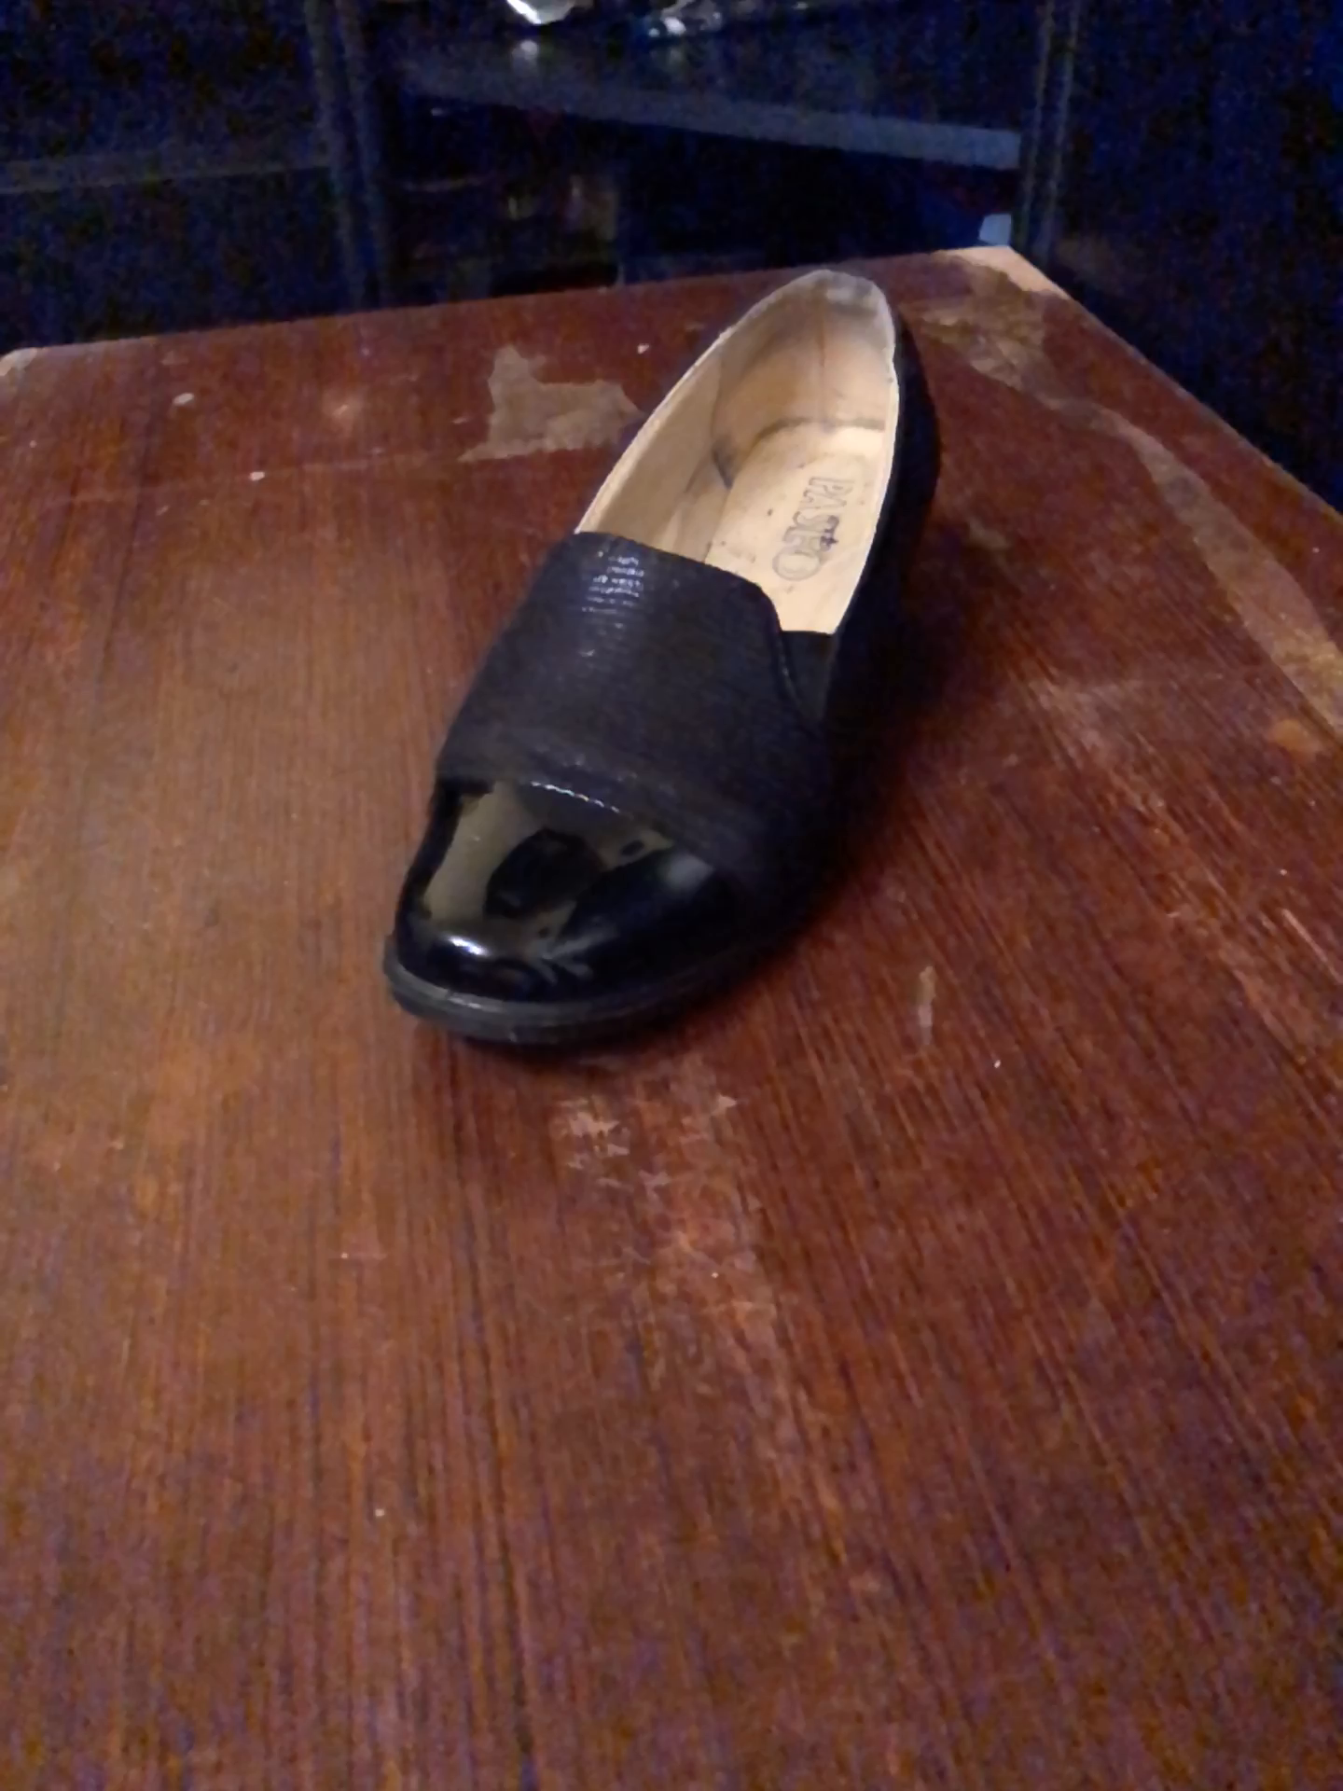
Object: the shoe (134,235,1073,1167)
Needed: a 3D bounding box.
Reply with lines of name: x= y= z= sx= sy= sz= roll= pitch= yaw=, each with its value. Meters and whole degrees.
shoe: x=0.007 y=-0.065 z=0.335 sx=0.089 sy=0.090 sz=0.236 roll=17 pitch=42 yaw=22
